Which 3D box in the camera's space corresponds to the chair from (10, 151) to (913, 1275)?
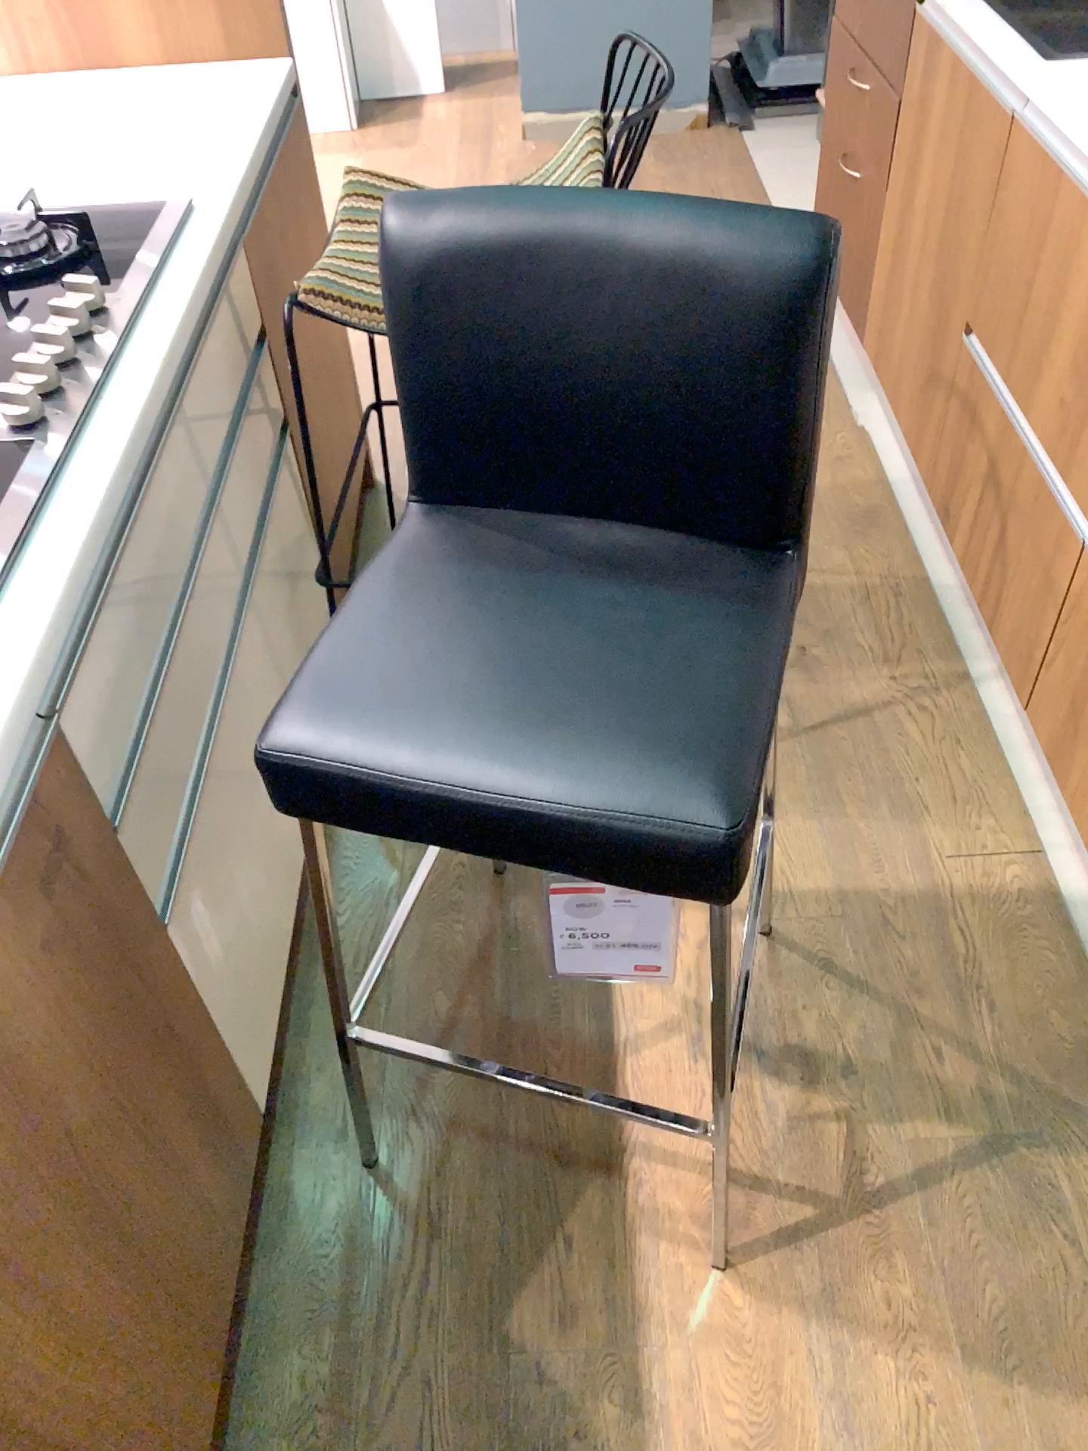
[{"bbox_3d":[0.017,0.054,1.154,0.500,1.026,0.522,9,47,13],"label":"chair"}]
